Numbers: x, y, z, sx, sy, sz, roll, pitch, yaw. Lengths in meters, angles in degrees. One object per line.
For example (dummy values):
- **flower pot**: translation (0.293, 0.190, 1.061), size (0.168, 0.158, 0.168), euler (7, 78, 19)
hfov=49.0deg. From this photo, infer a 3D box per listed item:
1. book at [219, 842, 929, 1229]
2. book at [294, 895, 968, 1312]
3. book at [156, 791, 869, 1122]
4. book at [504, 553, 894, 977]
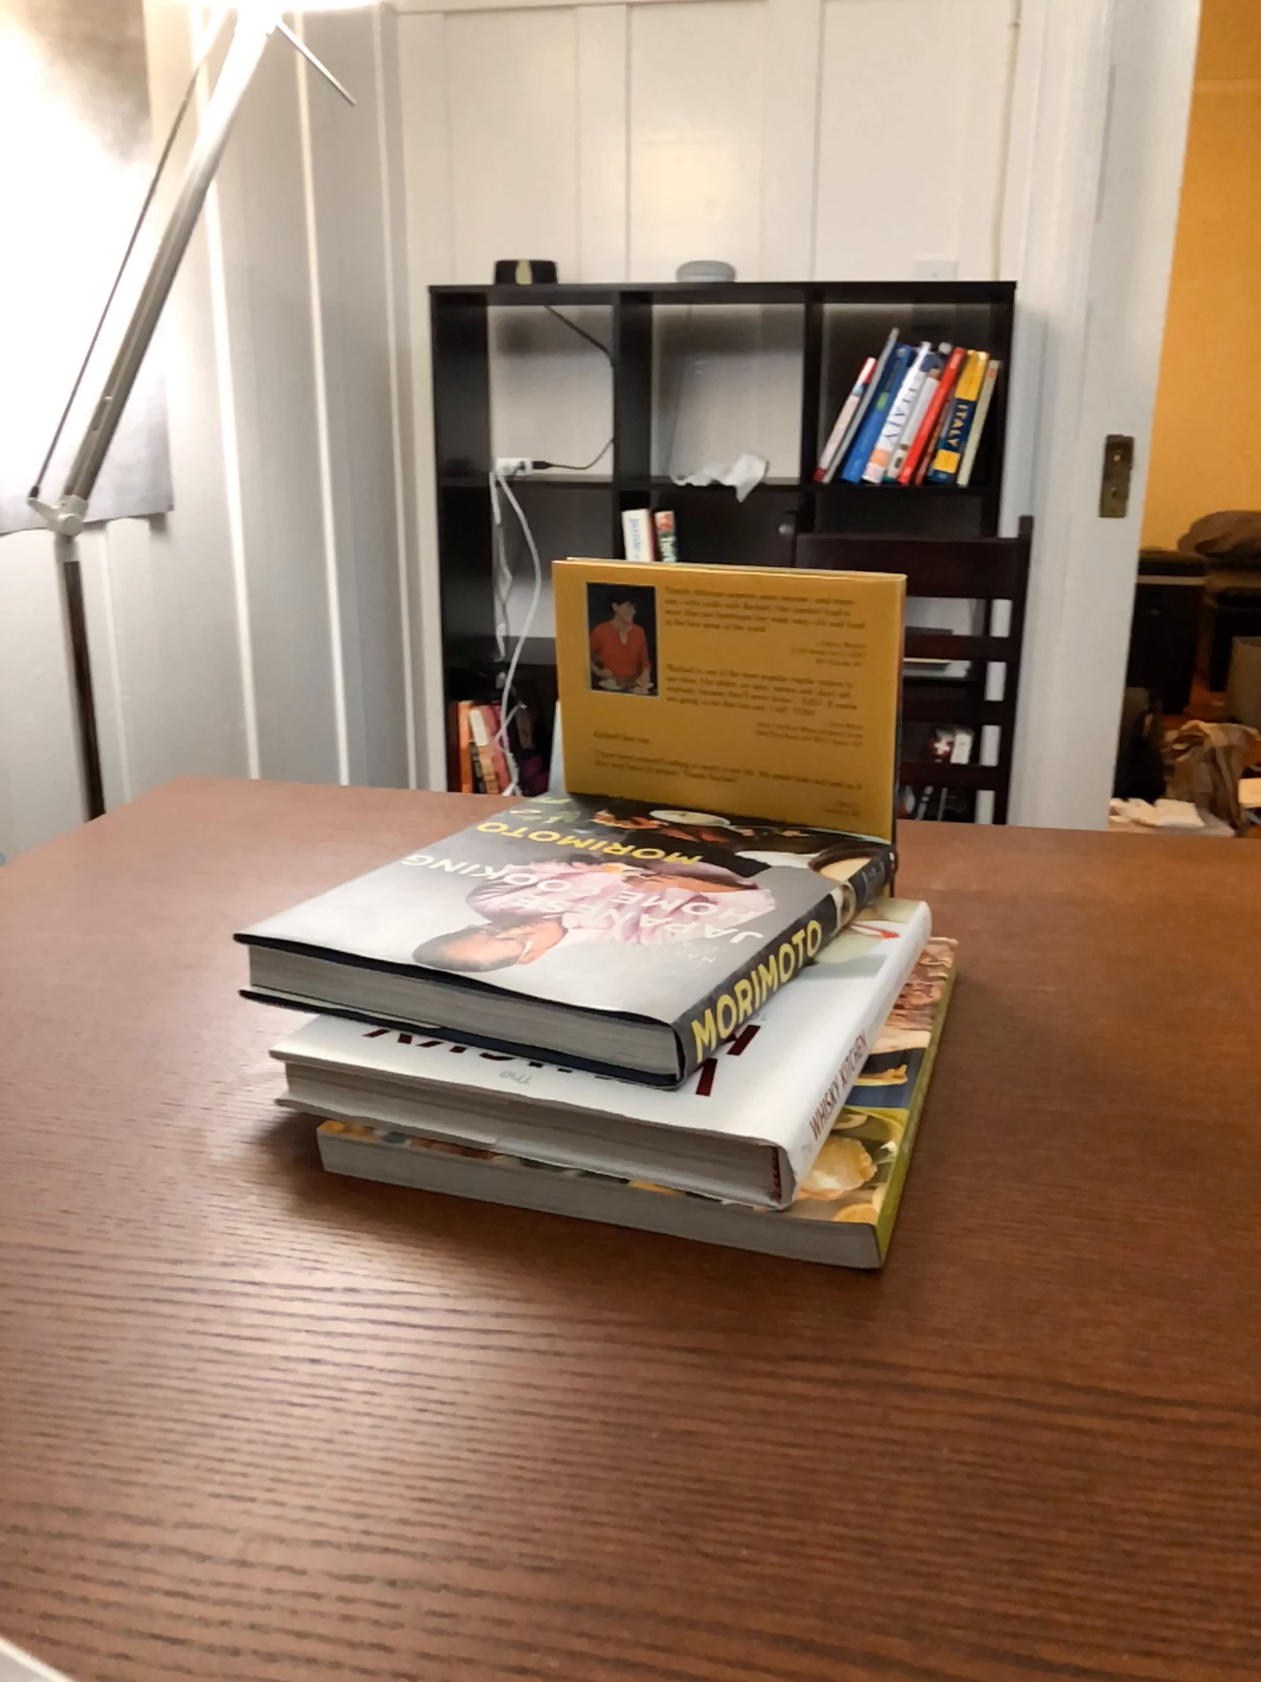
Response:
- **book**: translation (-0.001, 0.063, 0.609), size (0.220, 0.030, 0.281), euler (7, 17, 19)
- **book**: translation (0.024, 0.092, 0.609), size (0.220, 0.030, 0.281), euler (6, 17, 17)
- **book**: translation (-0.035, 0.035, 0.649), size (0.220, 0.030, 0.281), euler (8, 18, 24)
- **book**: translation (0.034, -0.046, 0.755), size (0.210, 0.209, 0.030), euler (8, 20, 27)
